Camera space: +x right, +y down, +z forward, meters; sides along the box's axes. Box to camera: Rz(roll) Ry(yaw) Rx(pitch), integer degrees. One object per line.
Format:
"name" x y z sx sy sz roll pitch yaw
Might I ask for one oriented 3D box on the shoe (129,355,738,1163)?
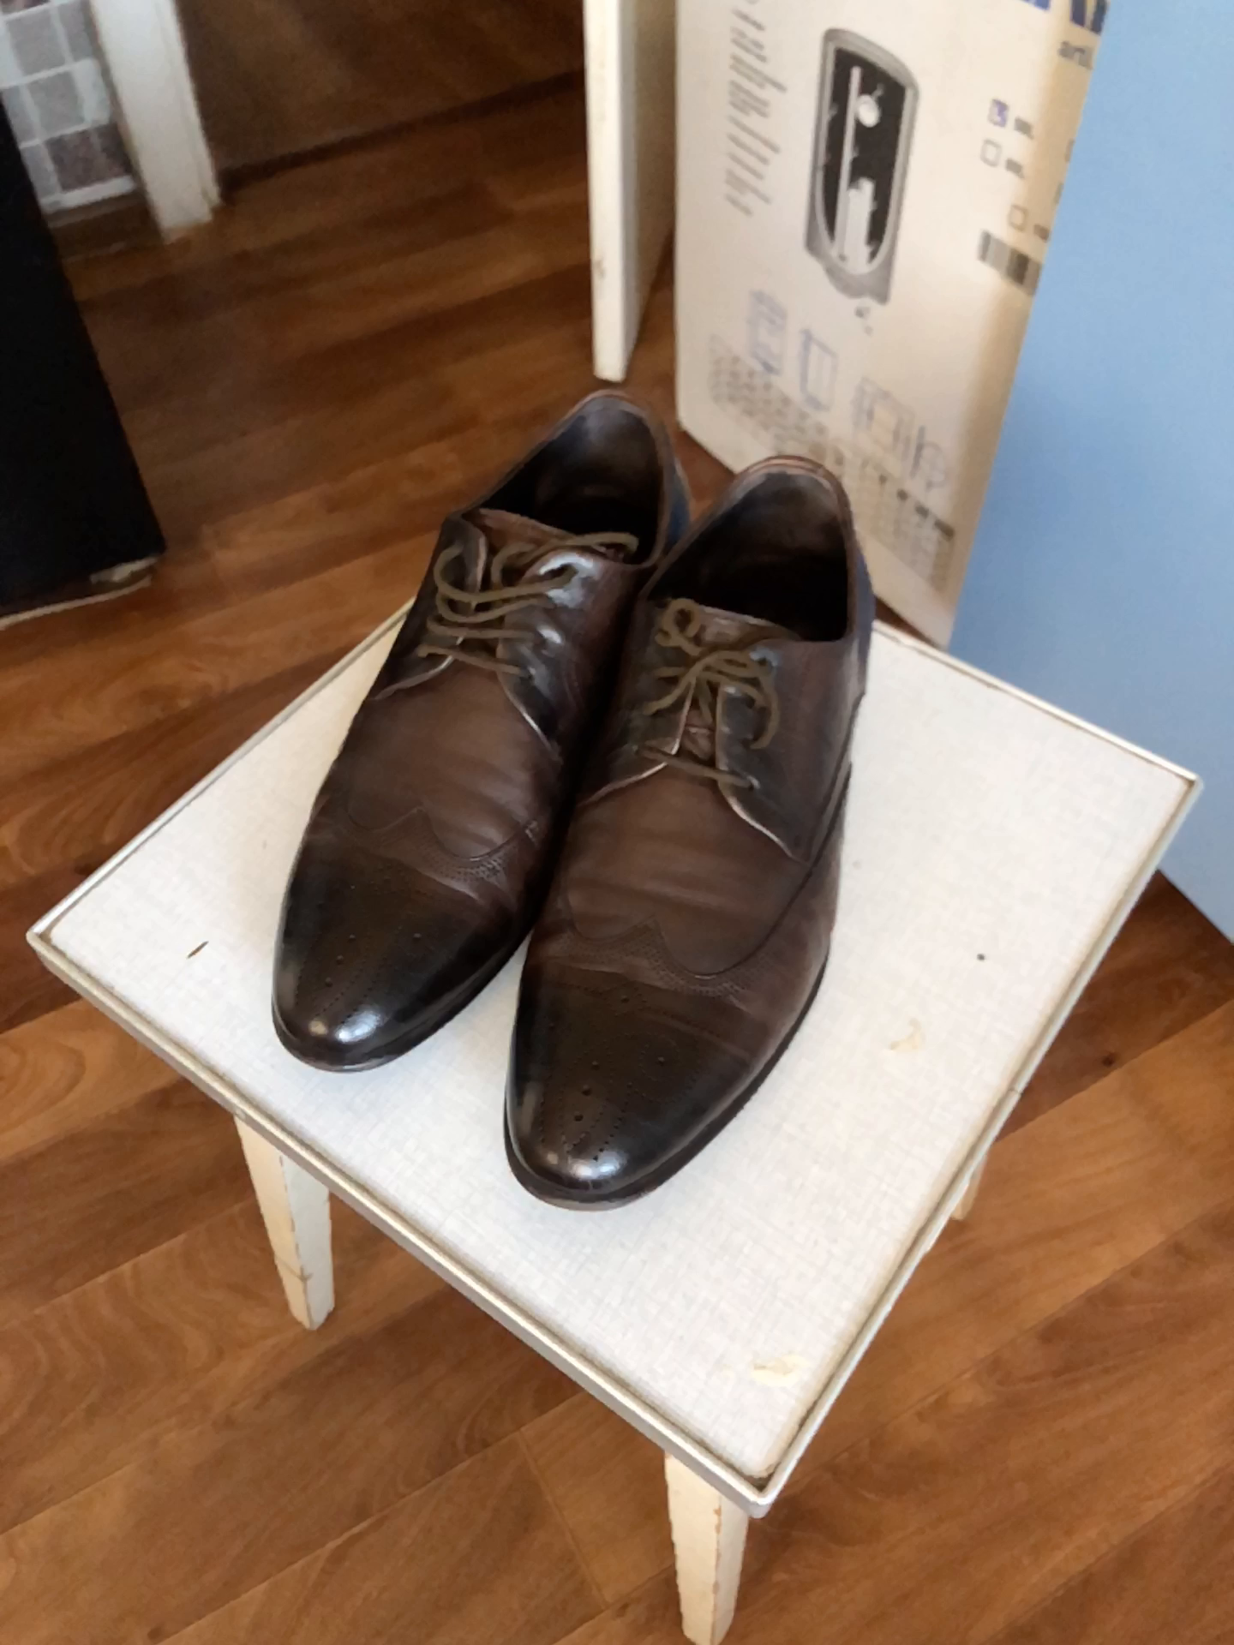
"shoe" -0.047 -0.039 0.509 0.100 0.099 0.291 15 55 12

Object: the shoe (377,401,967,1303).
"shoe" 0.033 -0.007 0.467 0.100 0.099 0.291 15 55 12
